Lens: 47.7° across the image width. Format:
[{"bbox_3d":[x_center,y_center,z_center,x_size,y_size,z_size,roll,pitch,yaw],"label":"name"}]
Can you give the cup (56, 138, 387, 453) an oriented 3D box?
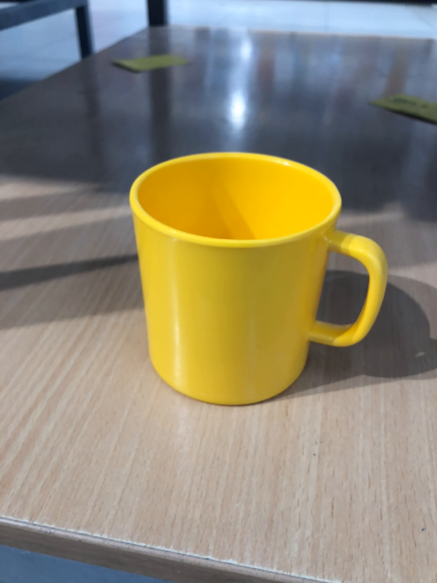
[{"bbox_3d":[0.006,-0.005,0.220,0.110,0.089,0.081,13,37,15],"label":"cup"}]
